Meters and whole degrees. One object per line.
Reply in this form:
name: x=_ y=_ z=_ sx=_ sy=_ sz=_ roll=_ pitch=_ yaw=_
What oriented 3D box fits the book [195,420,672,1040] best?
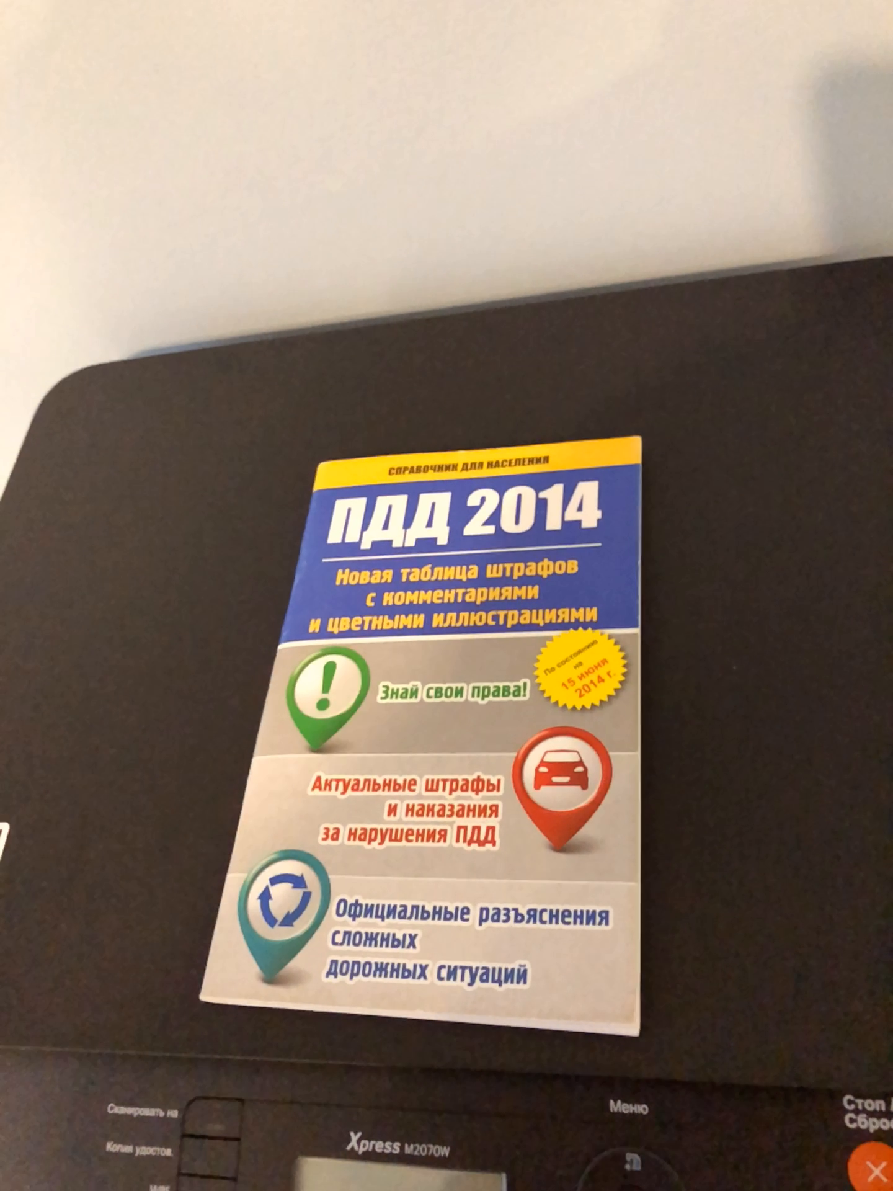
book: x=0.003 y=0.029 z=0.317 sx=0.130 sy=0.010 sz=0.201 roll=-3 pitch=57 yaw=15
